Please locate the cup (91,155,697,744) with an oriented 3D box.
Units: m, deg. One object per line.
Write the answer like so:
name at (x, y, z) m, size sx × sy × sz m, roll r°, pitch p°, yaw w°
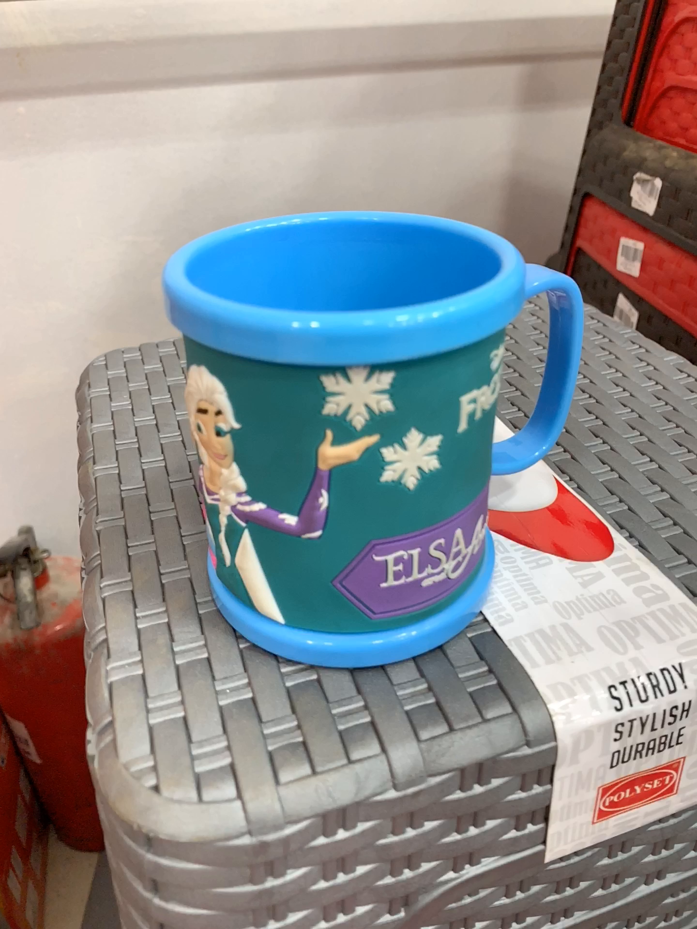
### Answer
cup at (0.011, -0.015, 0.189) m, size 0.110 × 0.099 × 0.080 m, roll -22°, pitch 37°, yaw -27°
